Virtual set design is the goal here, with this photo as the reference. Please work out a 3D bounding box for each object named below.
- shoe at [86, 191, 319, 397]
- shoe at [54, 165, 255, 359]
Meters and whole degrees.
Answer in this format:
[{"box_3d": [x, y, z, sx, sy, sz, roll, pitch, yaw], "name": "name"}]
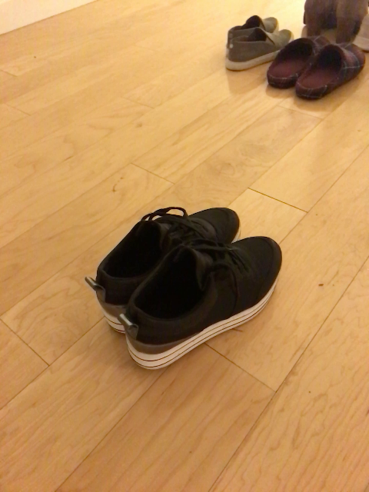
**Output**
[{"box_3d": [0.033, 0.059, 0.557, 0.291, 0.139, 0.100, -27, 49, -20], "name": "shoe"}, {"box_3d": [-0.029, 0.015, 0.606, 0.281, 0.139, 0.100, -35, 52, -26], "name": "shoe"}]
